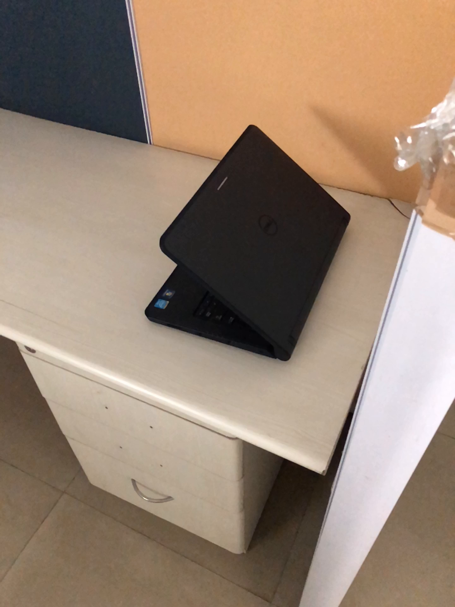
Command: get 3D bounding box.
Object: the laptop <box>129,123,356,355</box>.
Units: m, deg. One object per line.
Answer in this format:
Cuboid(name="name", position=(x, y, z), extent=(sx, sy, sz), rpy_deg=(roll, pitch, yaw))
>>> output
Cuboid(name="laptop", position=(0.039, -0.117, 0.770), extent=(0.215, 0.154, 0.320), rpy_deg=(17, 49, 18))
